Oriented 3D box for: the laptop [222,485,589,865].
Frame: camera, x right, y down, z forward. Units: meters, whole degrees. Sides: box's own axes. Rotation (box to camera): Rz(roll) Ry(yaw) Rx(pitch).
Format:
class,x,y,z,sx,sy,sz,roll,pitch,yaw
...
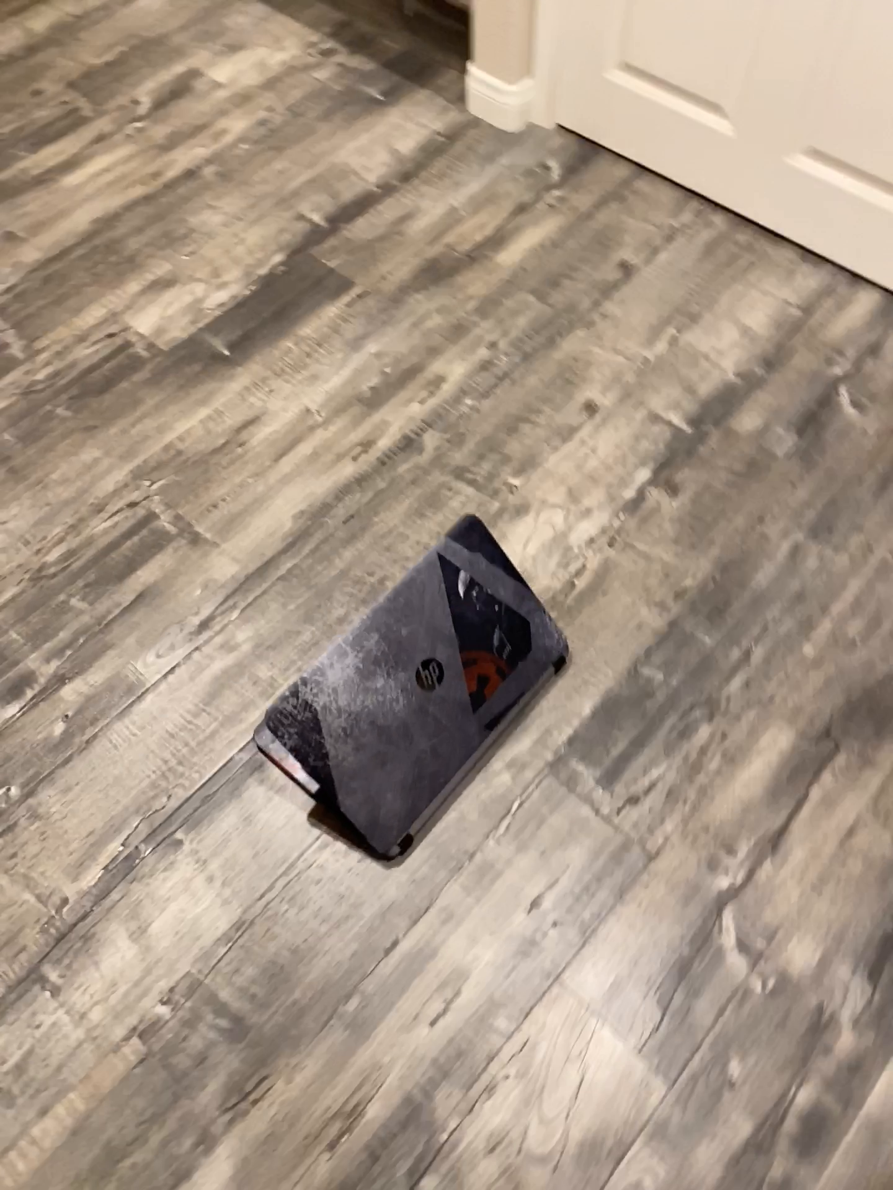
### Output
class,x,y,z,sx,sy,sz,roll,pitch,yaw
laptop,-0.041,0.093,1.154,0.250,0.177,0.375,36,66,20
